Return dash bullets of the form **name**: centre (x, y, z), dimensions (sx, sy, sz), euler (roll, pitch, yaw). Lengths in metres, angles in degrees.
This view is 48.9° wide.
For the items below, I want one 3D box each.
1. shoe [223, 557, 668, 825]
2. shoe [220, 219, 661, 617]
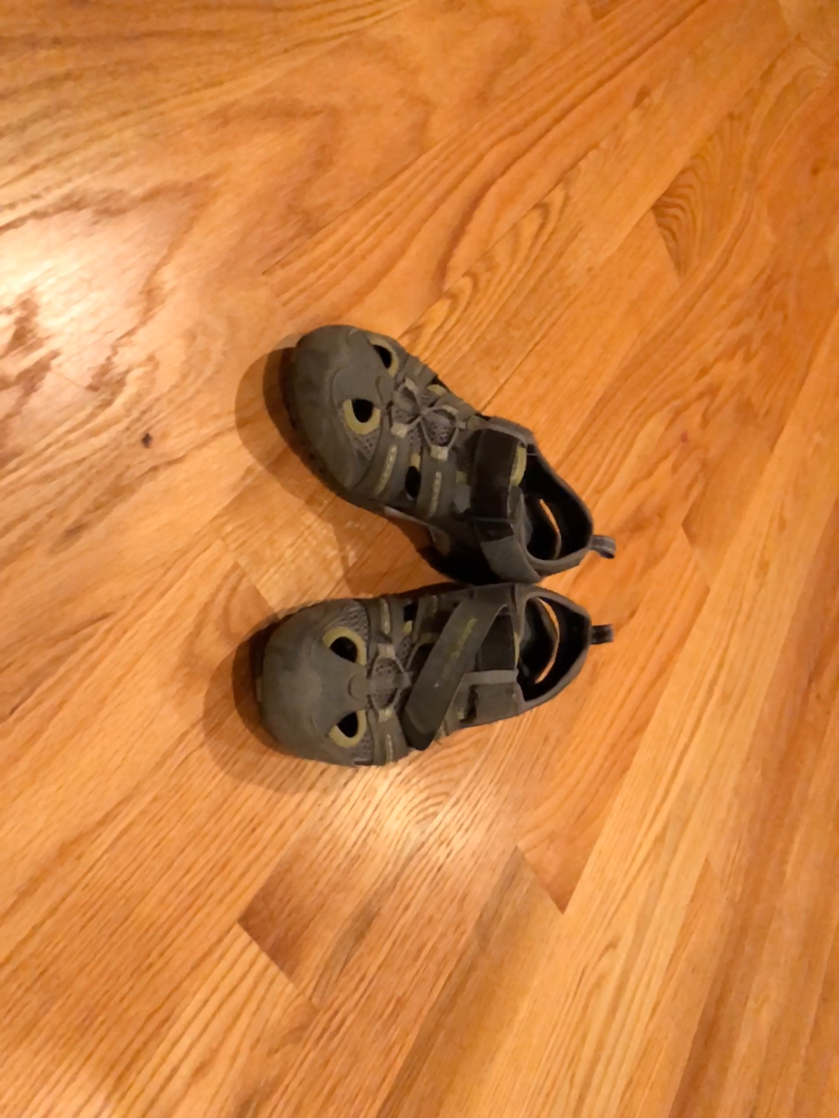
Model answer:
- **shoe**: centre (0.028, 0.061, 0.528), dimensions (0.246, 0.113, 0.100), euler (-6, 90, -48)
- **shoe**: centre (0.027, -0.062, 0.544), dimensions (0.246, 0.113, 0.100), euler (34, 61, -40)
